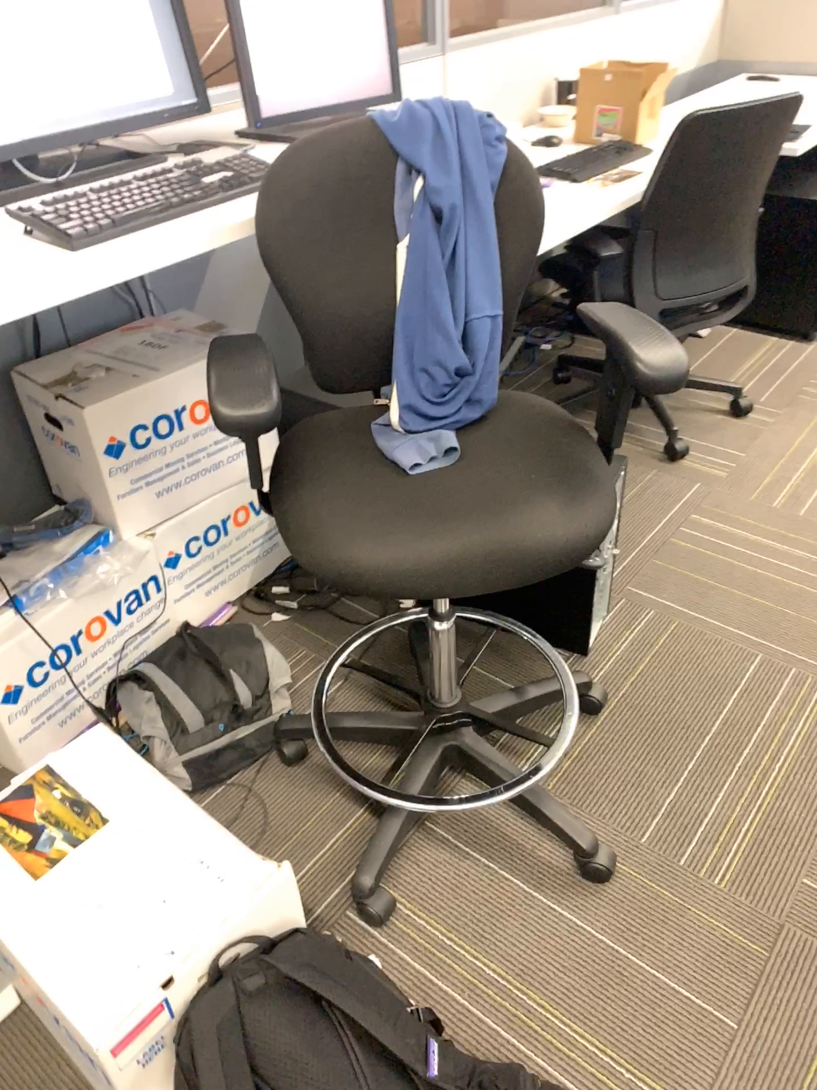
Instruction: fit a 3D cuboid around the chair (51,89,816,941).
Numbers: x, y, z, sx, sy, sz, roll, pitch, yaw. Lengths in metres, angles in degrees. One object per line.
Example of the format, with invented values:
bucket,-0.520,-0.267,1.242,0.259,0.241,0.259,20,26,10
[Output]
chair,0.042,-0.071,1.384,0.740,1.063,0.846,-5,37,-3
